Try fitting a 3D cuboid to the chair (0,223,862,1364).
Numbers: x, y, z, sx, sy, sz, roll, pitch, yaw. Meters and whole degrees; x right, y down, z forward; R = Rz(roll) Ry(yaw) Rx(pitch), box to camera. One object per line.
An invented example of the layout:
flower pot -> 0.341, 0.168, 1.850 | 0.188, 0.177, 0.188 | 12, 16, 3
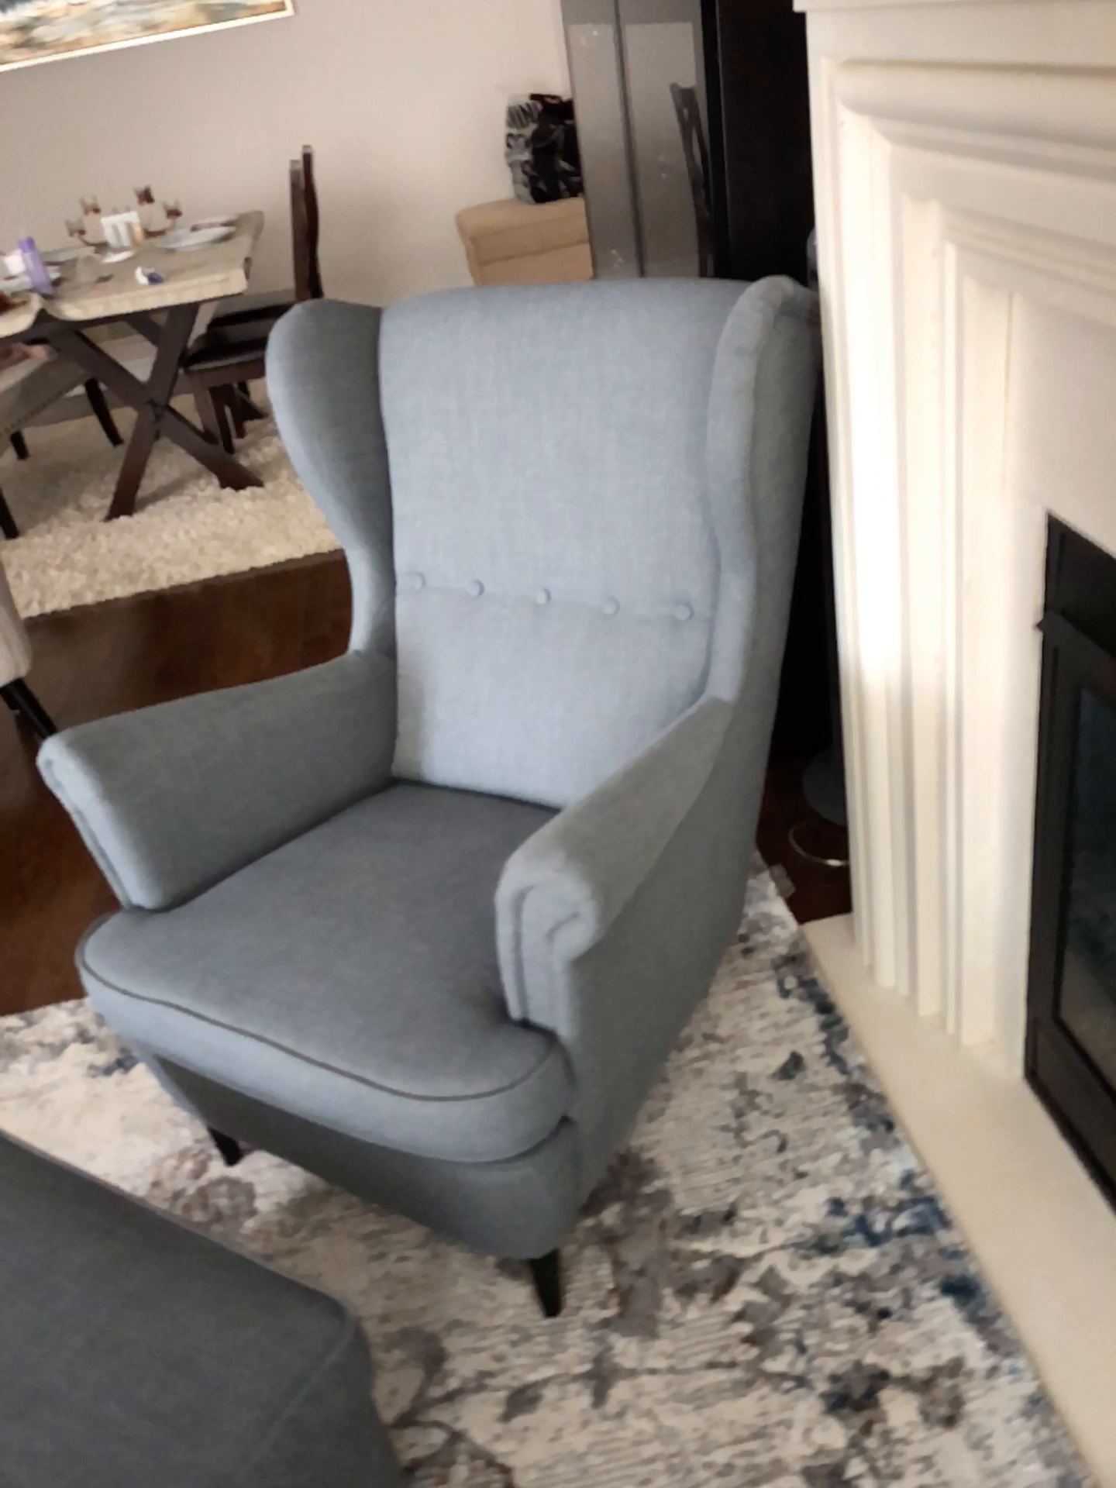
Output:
chair -> -0.159, -0.025, 1.550 | 0.802, 0.966, 0.852 | 9, 36, 30
